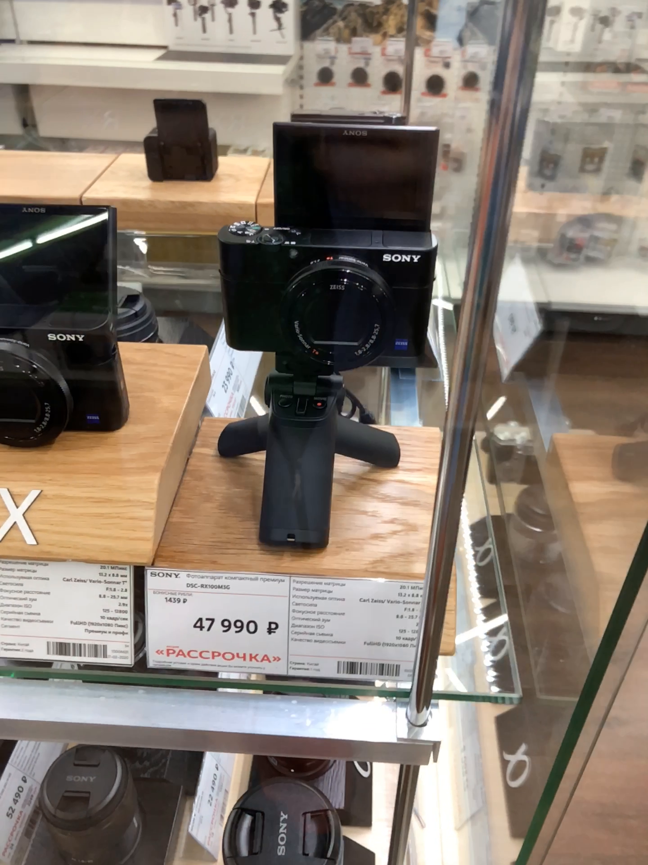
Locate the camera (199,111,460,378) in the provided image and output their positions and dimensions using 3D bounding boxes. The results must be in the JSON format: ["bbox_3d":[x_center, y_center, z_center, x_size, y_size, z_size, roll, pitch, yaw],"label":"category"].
[{"bbox_3d":[0.003,-0.086,0.333,0.102,0.102,0.057,3,37,2],"label":"camera"}]

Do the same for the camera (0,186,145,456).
[{"bbox_3d":[-0.150,-0.052,0.336,0.102,0.102,0.065,3,37,2],"label":"camera"}]
